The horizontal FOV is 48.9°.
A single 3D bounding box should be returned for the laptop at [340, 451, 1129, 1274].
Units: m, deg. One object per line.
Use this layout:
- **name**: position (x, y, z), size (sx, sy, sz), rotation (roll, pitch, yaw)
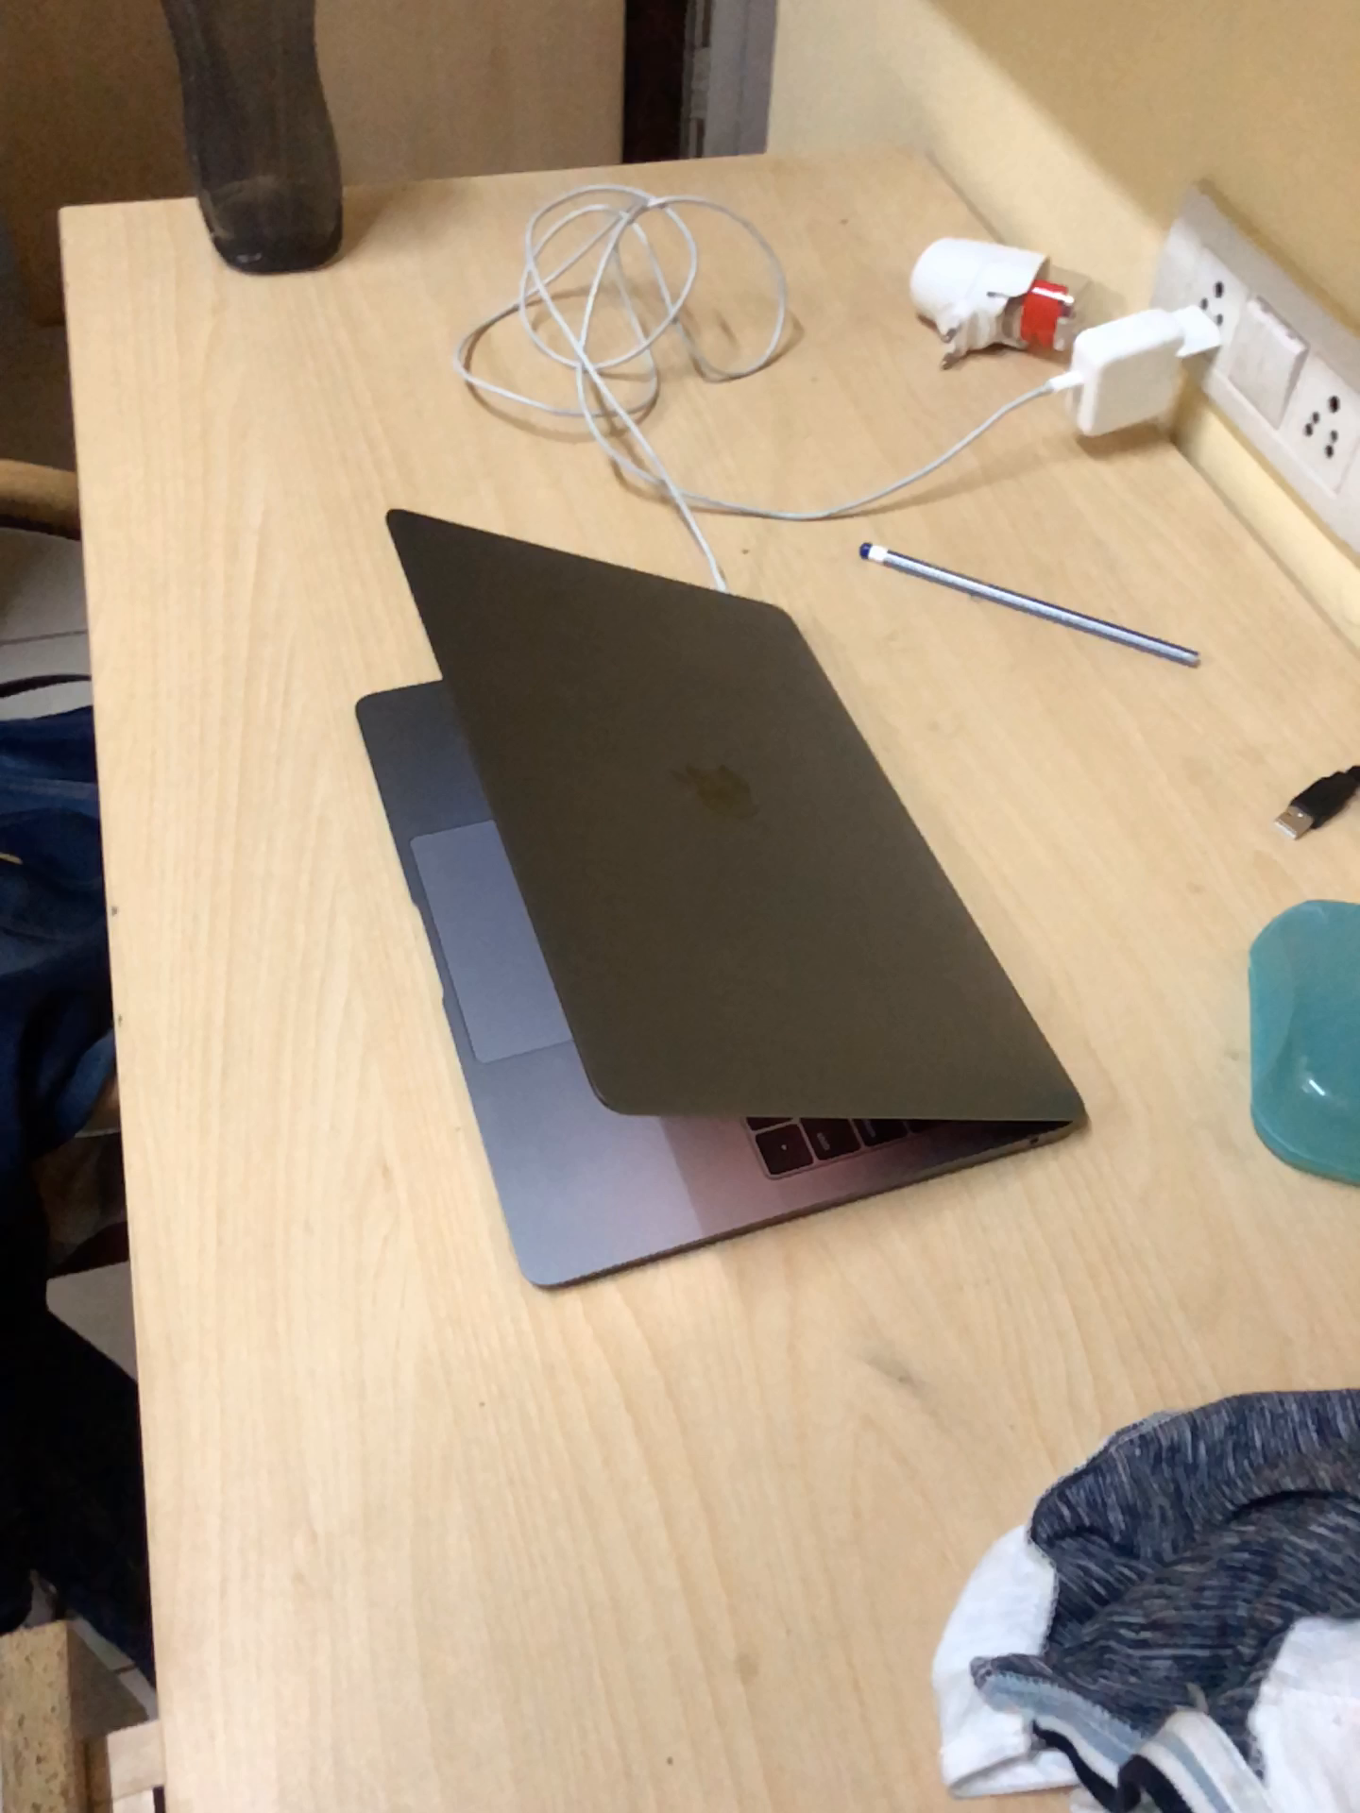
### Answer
- **laptop**: position (-0.001, -0.037, 0.573), size (0.193, 0.094, 0.295), rotation (-14, 52, -13)
